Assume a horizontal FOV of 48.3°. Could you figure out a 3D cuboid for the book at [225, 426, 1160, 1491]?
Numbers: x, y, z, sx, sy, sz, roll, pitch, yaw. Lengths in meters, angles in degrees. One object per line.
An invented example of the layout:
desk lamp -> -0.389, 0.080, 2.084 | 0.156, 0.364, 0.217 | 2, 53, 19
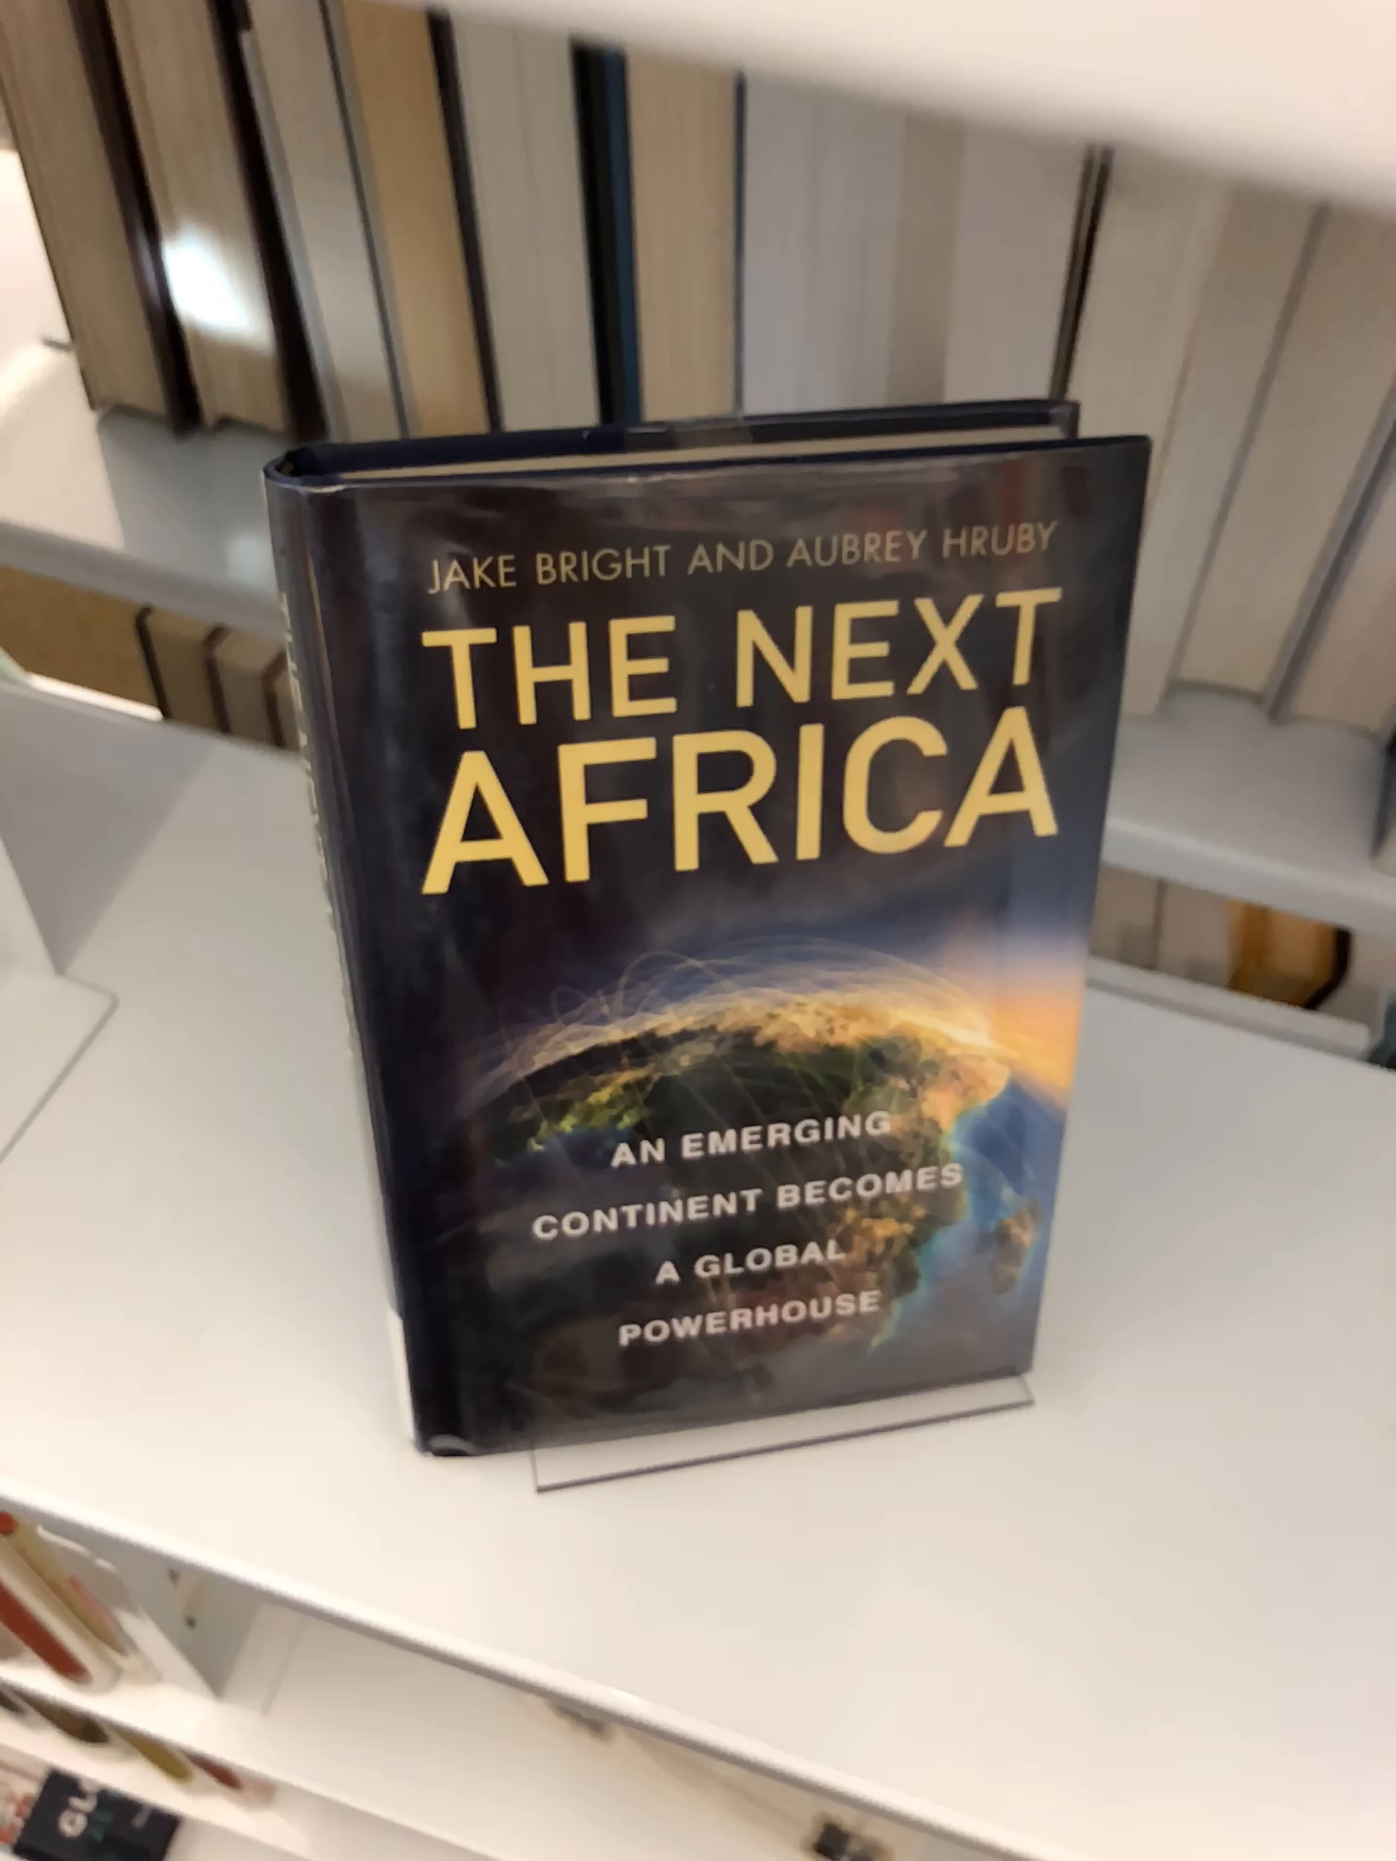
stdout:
book -> 0.001, 0.014, 0.313 | 0.153, 0.211, 0.030 | -6, 29, -9
